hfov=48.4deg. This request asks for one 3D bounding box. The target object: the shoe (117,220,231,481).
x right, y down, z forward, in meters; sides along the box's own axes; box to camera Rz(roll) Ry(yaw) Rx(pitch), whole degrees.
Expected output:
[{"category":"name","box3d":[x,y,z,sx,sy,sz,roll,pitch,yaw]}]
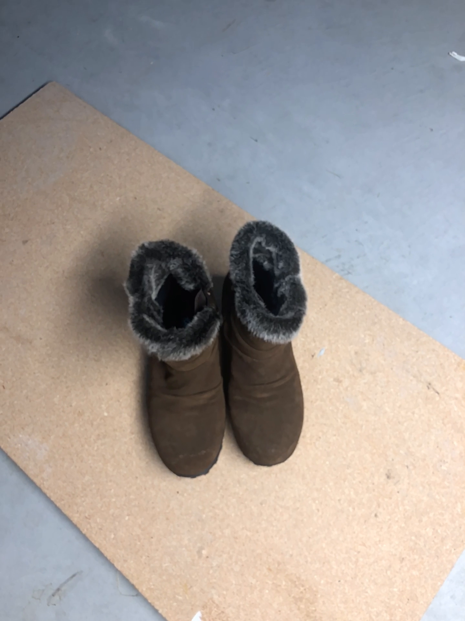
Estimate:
[{"category":"shoe","box3d":[-0.066,0.061,0.631,0.100,0.220,0.250,-5,66,-1]}]

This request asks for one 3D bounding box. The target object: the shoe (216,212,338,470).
[{"category":"shoe","box3d":[0.044,0.048,0.647,0.100,0.200,0.260,-5,66,-1]}]
